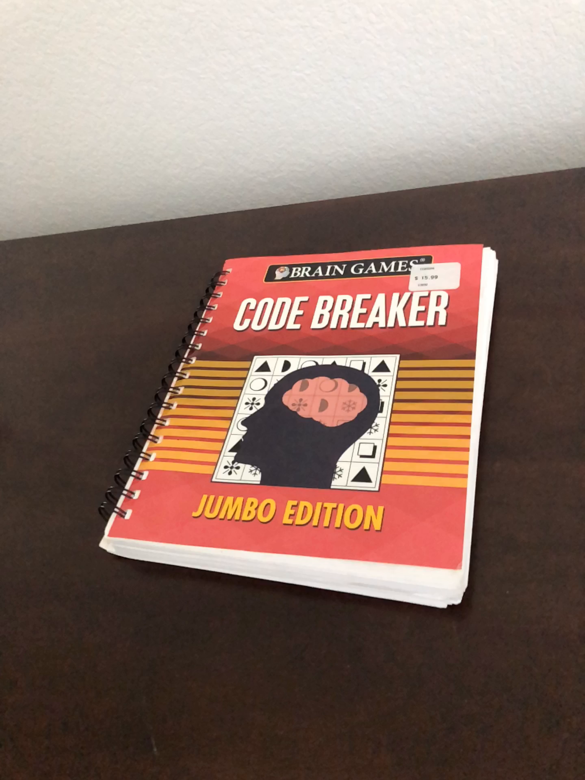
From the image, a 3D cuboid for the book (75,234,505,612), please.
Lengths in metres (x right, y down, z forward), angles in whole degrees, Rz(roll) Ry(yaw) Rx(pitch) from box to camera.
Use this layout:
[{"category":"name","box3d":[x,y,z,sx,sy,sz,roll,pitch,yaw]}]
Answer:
[{"category":"book","box3d":[0.012,0.000,0.377,0.202,0.030,0.224,1,51,21]}]
